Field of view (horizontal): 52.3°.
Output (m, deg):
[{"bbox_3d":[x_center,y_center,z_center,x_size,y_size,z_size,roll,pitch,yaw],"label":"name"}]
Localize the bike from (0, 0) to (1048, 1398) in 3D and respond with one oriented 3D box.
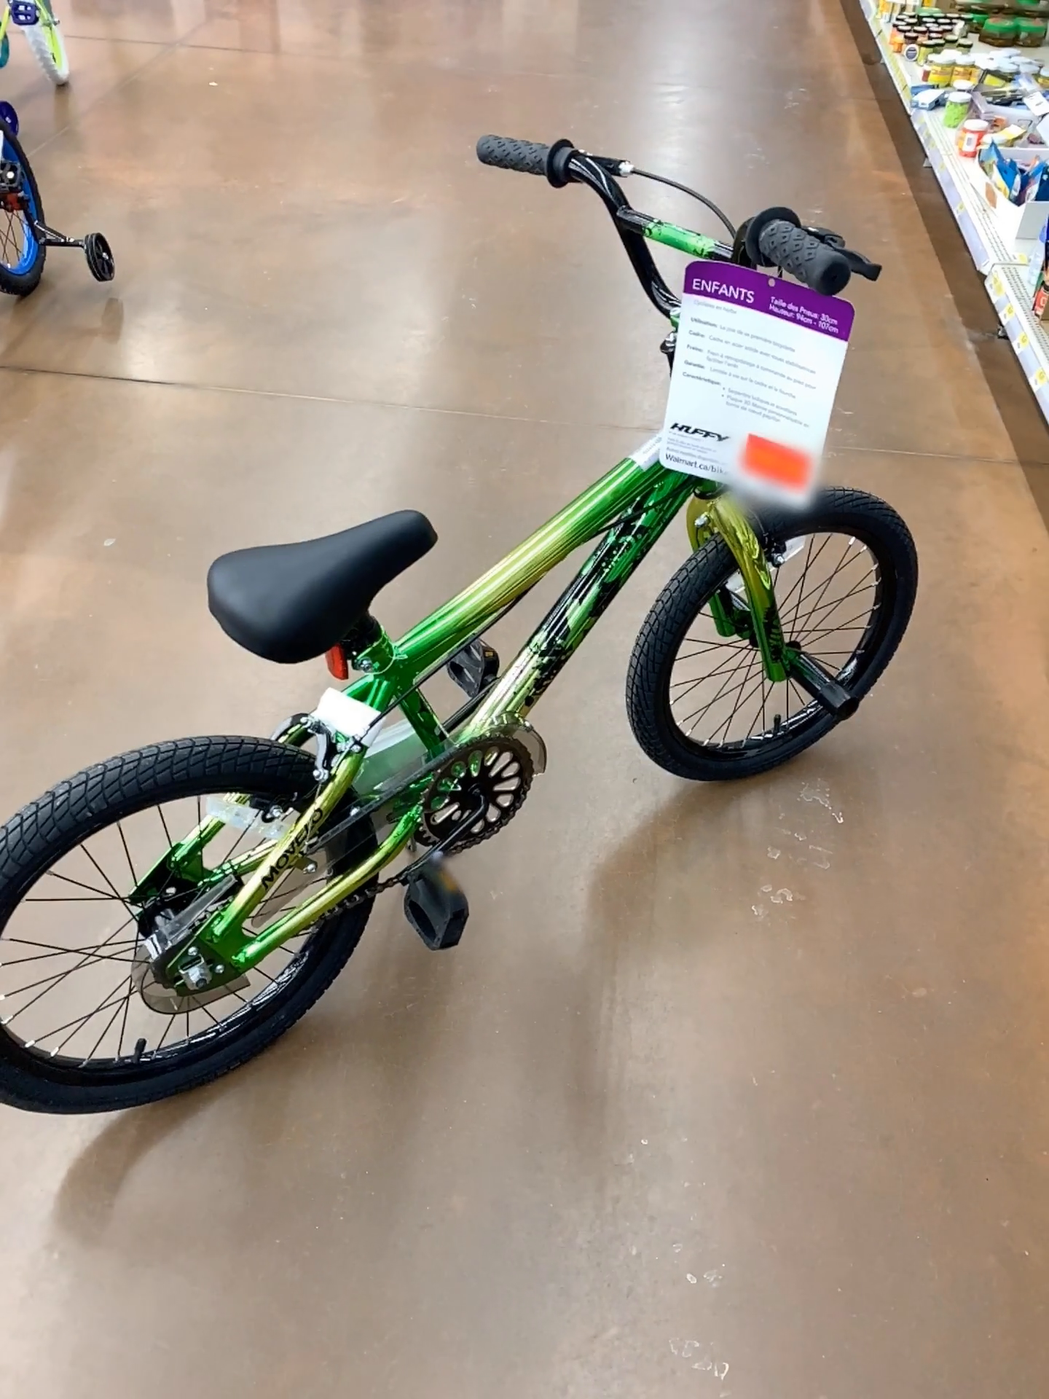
[{"bbox_3d":[0.101,-0.073,1.133,1.407,1.034,0.720,-26,49,-19],"label":"bike"}]
